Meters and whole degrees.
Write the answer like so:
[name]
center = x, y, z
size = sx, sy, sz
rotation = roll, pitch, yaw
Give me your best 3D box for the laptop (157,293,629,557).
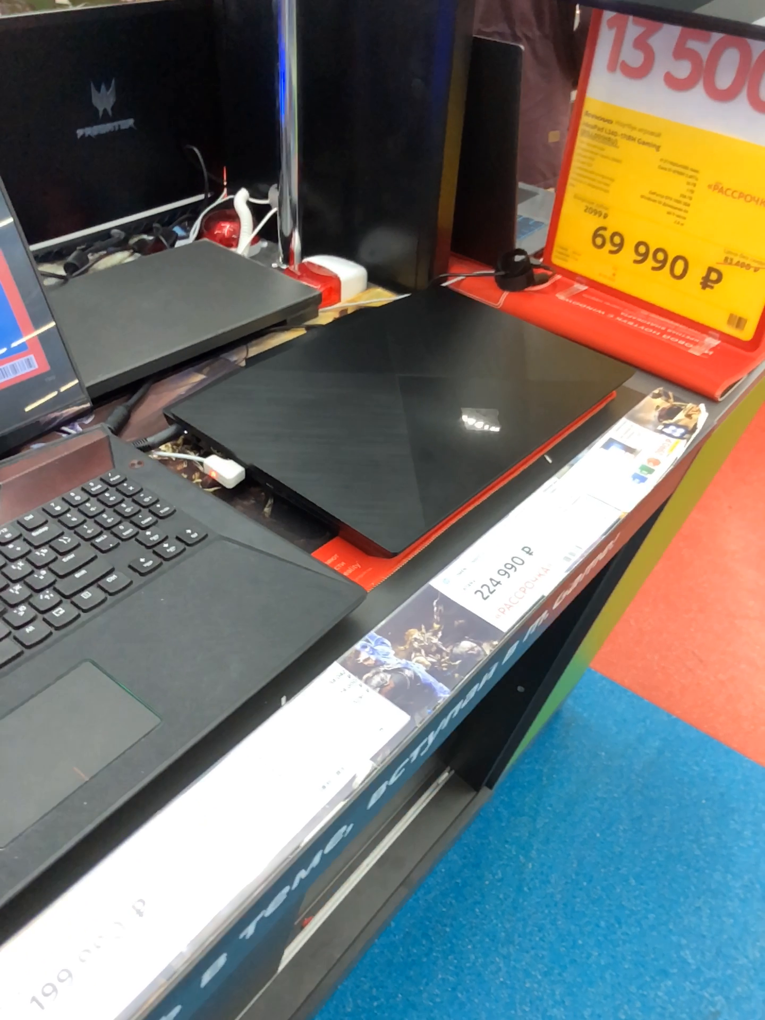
[laptop]
center = 0.030, -0.111, 0.805
size = 0.261, 0.002, 0.399
rotation = 29, 44, 27
